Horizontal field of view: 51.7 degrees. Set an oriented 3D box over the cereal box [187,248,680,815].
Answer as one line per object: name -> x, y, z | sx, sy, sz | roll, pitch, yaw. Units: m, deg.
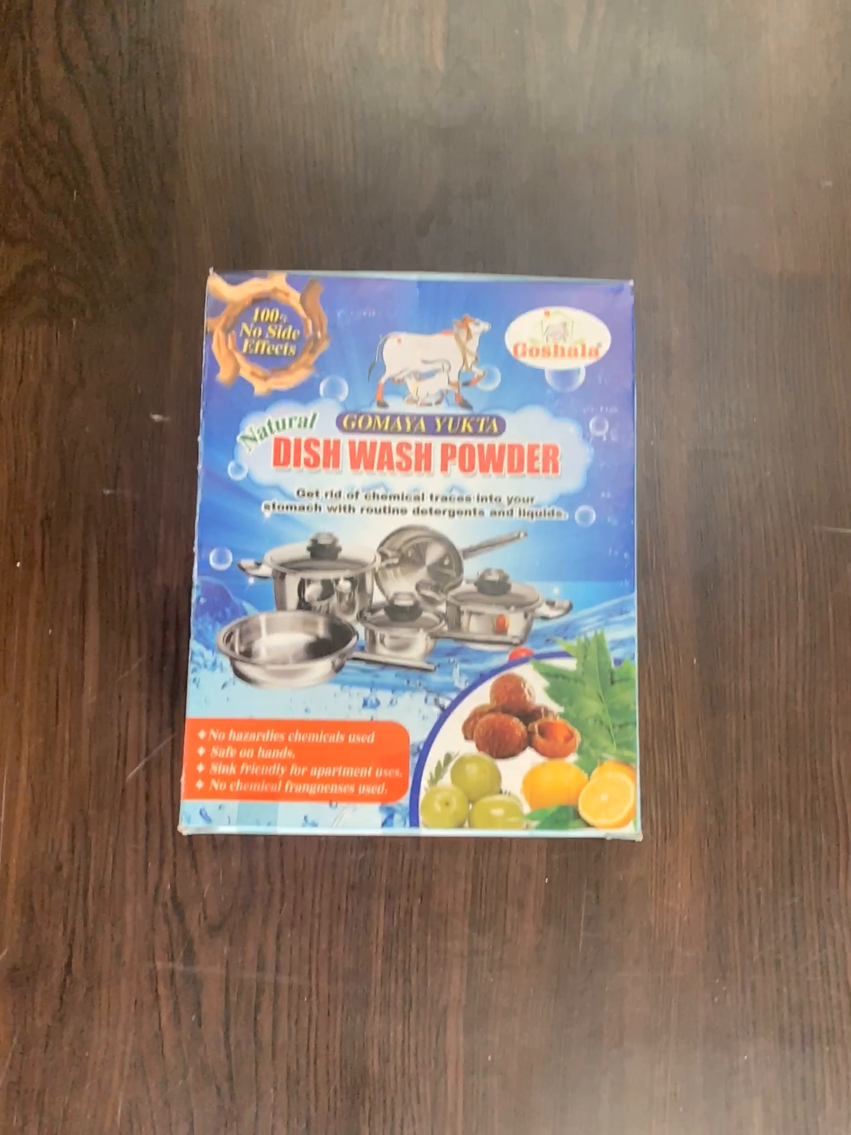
cereal box -> 0.004, -0.010, 0.292 | 0.140, 0.060, 0.170 | 1, 81, 0
